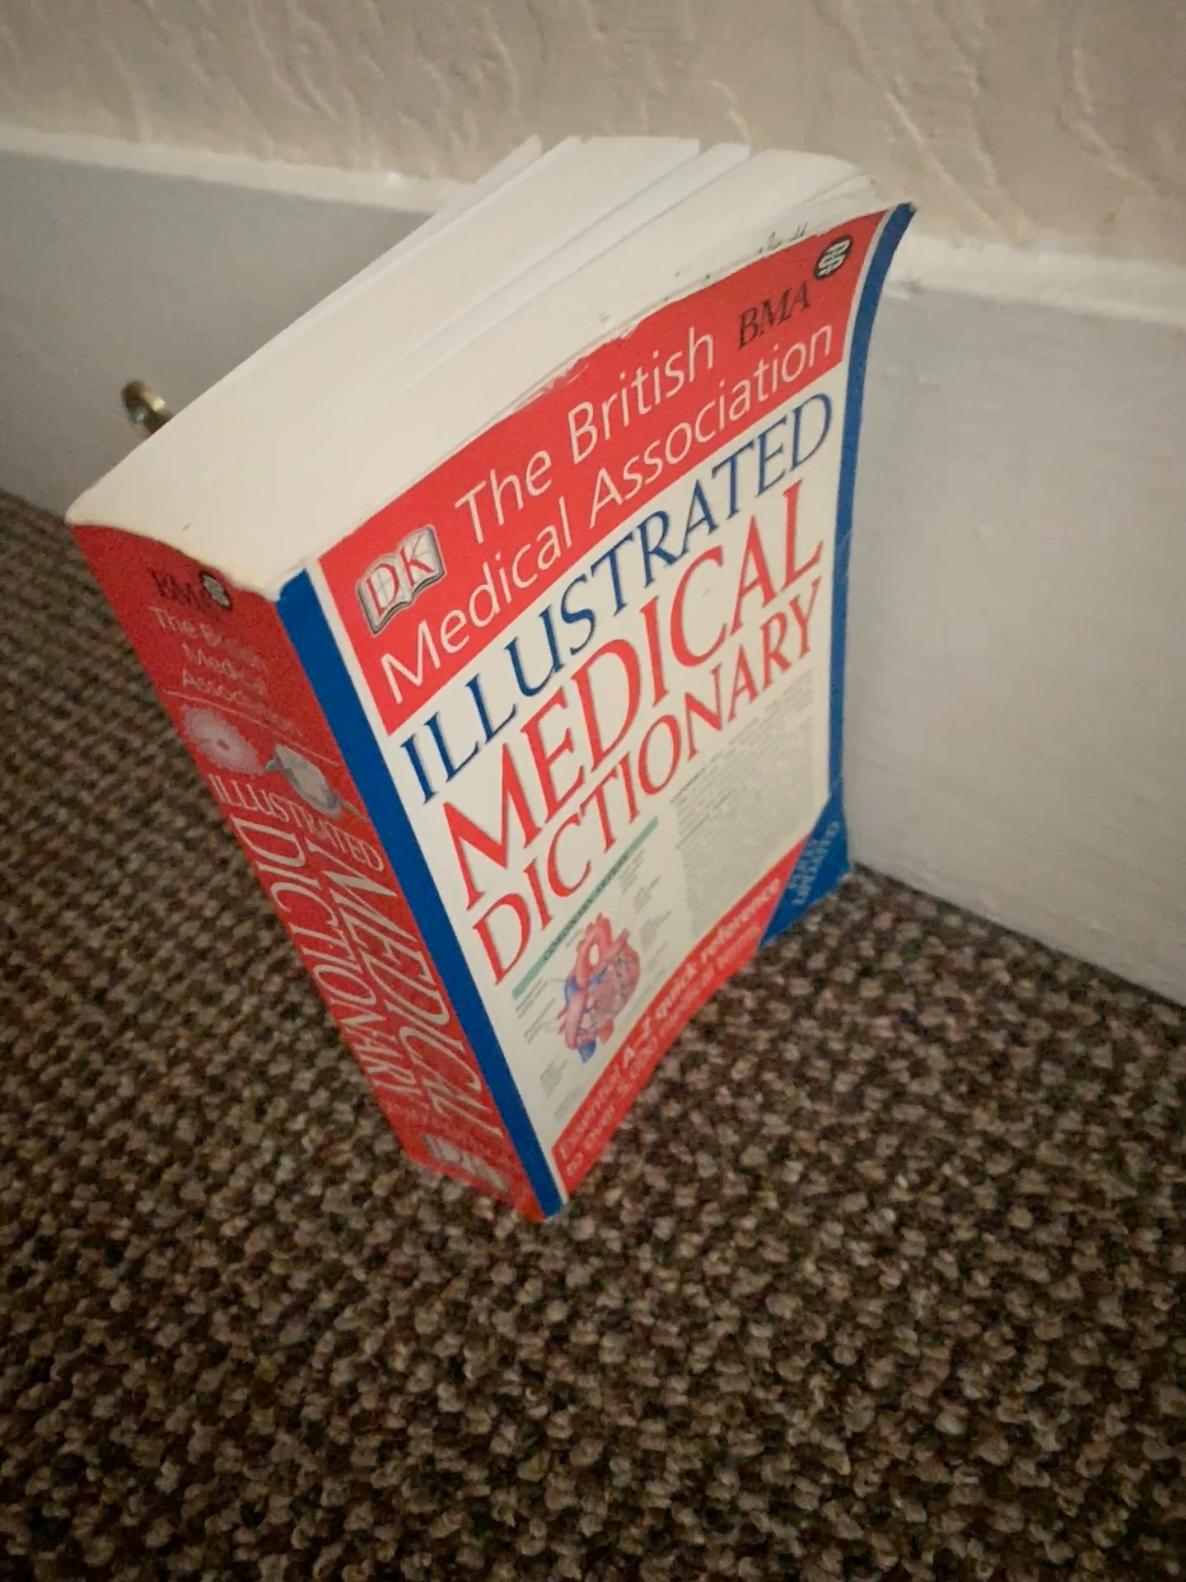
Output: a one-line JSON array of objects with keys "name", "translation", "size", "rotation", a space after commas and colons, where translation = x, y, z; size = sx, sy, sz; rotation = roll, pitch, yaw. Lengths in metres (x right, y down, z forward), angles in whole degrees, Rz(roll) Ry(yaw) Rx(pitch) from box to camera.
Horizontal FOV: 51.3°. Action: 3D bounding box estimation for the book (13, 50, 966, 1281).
[{"name": "book", "translation": [0.009, -0.026, 0.282], "size": [0.060, 0.198, 0.191], "rotation": [22, 53, 29]}]
